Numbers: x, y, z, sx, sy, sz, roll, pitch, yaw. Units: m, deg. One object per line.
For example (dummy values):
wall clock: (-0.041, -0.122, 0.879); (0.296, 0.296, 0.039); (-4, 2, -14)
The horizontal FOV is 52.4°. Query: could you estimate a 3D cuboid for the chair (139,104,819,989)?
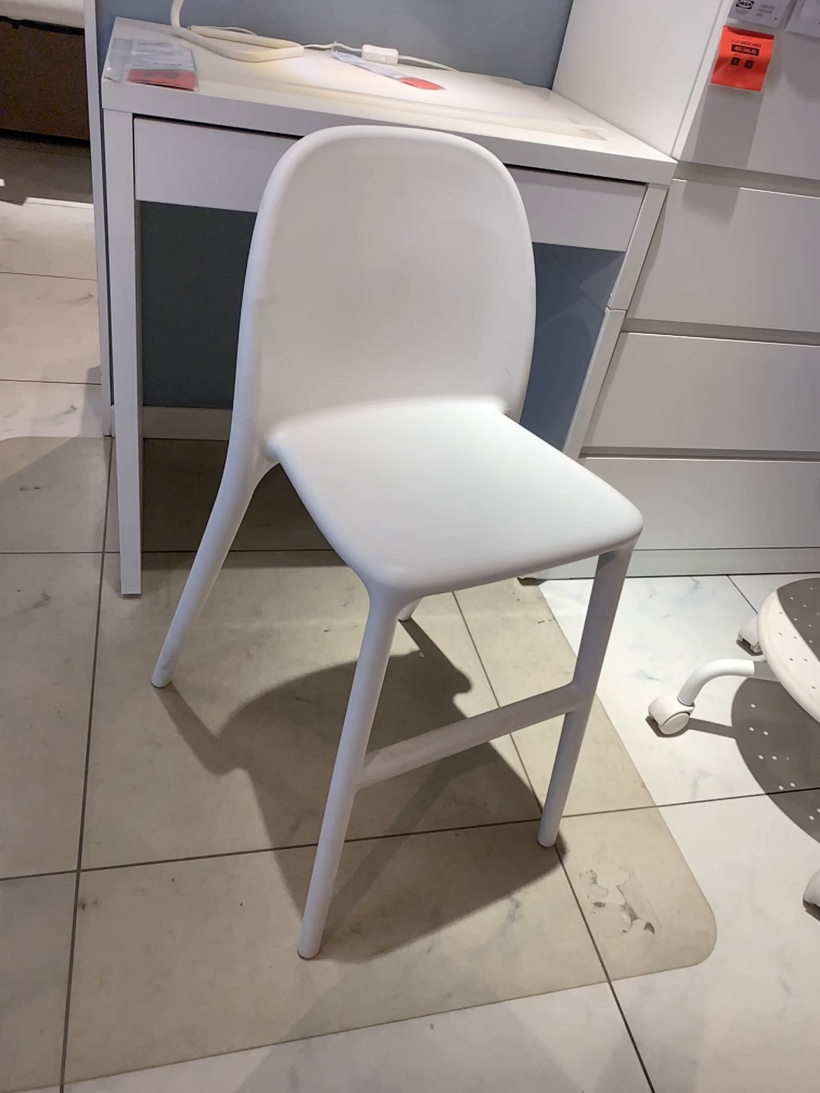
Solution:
chair: (0.000, -0.010, 0.923); (0.451, 0.727, 0.491); (-11, 42, -29)
